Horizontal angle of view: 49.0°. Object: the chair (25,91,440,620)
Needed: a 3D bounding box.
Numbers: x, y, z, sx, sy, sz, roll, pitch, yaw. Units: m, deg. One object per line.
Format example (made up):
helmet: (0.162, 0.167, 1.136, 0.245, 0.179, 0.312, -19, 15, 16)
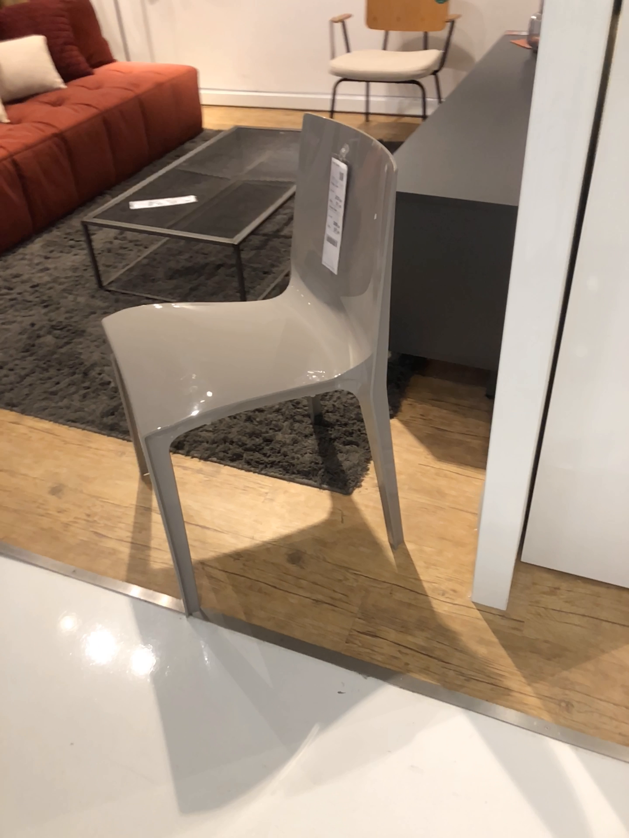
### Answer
chair: (-0.149, -0.134, 1.336, 0.560, 0.754, 0.524, -15, 39, -13)
